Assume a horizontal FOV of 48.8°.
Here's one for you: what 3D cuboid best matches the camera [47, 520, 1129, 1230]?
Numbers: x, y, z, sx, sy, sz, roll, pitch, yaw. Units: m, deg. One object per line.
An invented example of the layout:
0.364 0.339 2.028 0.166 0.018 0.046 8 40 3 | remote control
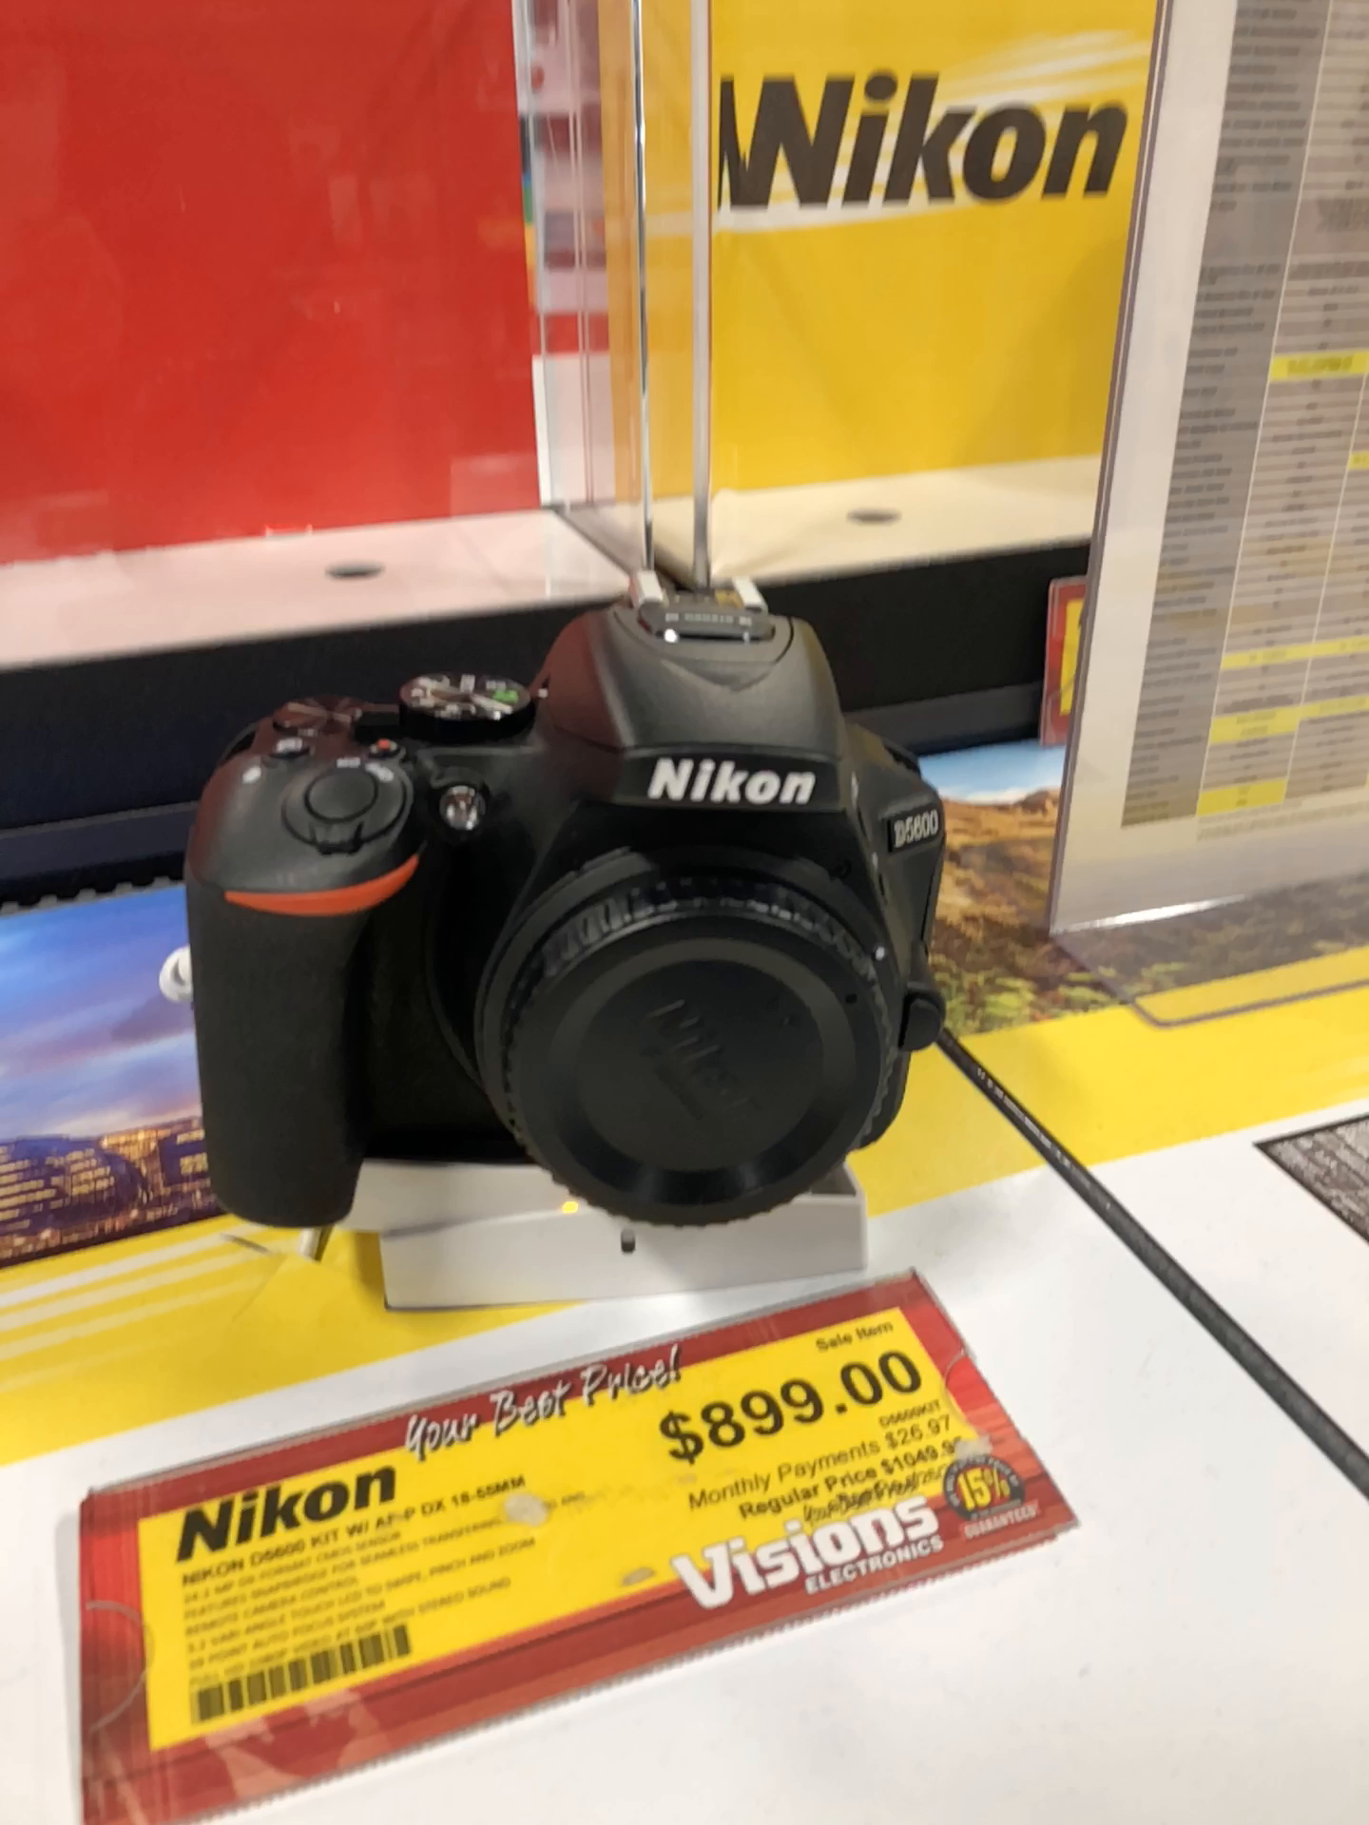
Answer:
-0.016 -0.009 0.250 0.140 0.089 0.080 1 25 -5 | camera
